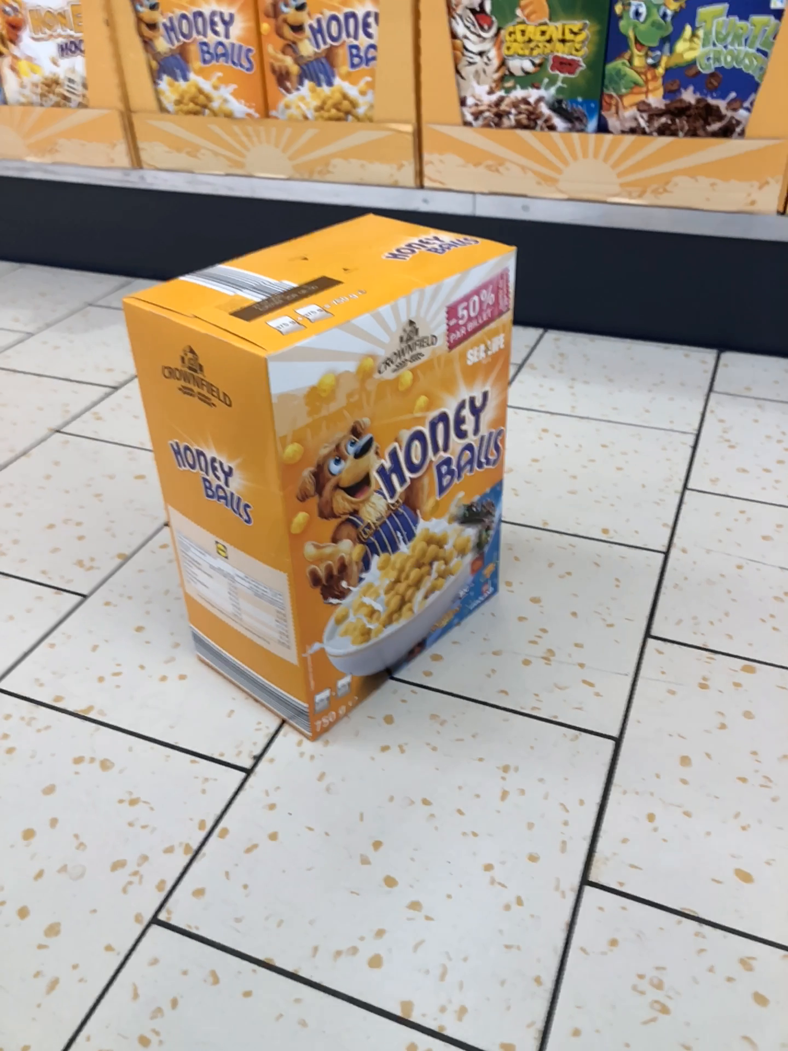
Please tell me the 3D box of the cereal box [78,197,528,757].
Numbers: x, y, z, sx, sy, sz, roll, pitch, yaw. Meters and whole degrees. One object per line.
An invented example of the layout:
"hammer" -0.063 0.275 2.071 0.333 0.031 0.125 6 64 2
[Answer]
"cereal box" -0.039 -0.039 0.544 0.130 0.259 0.211 26 43 35
